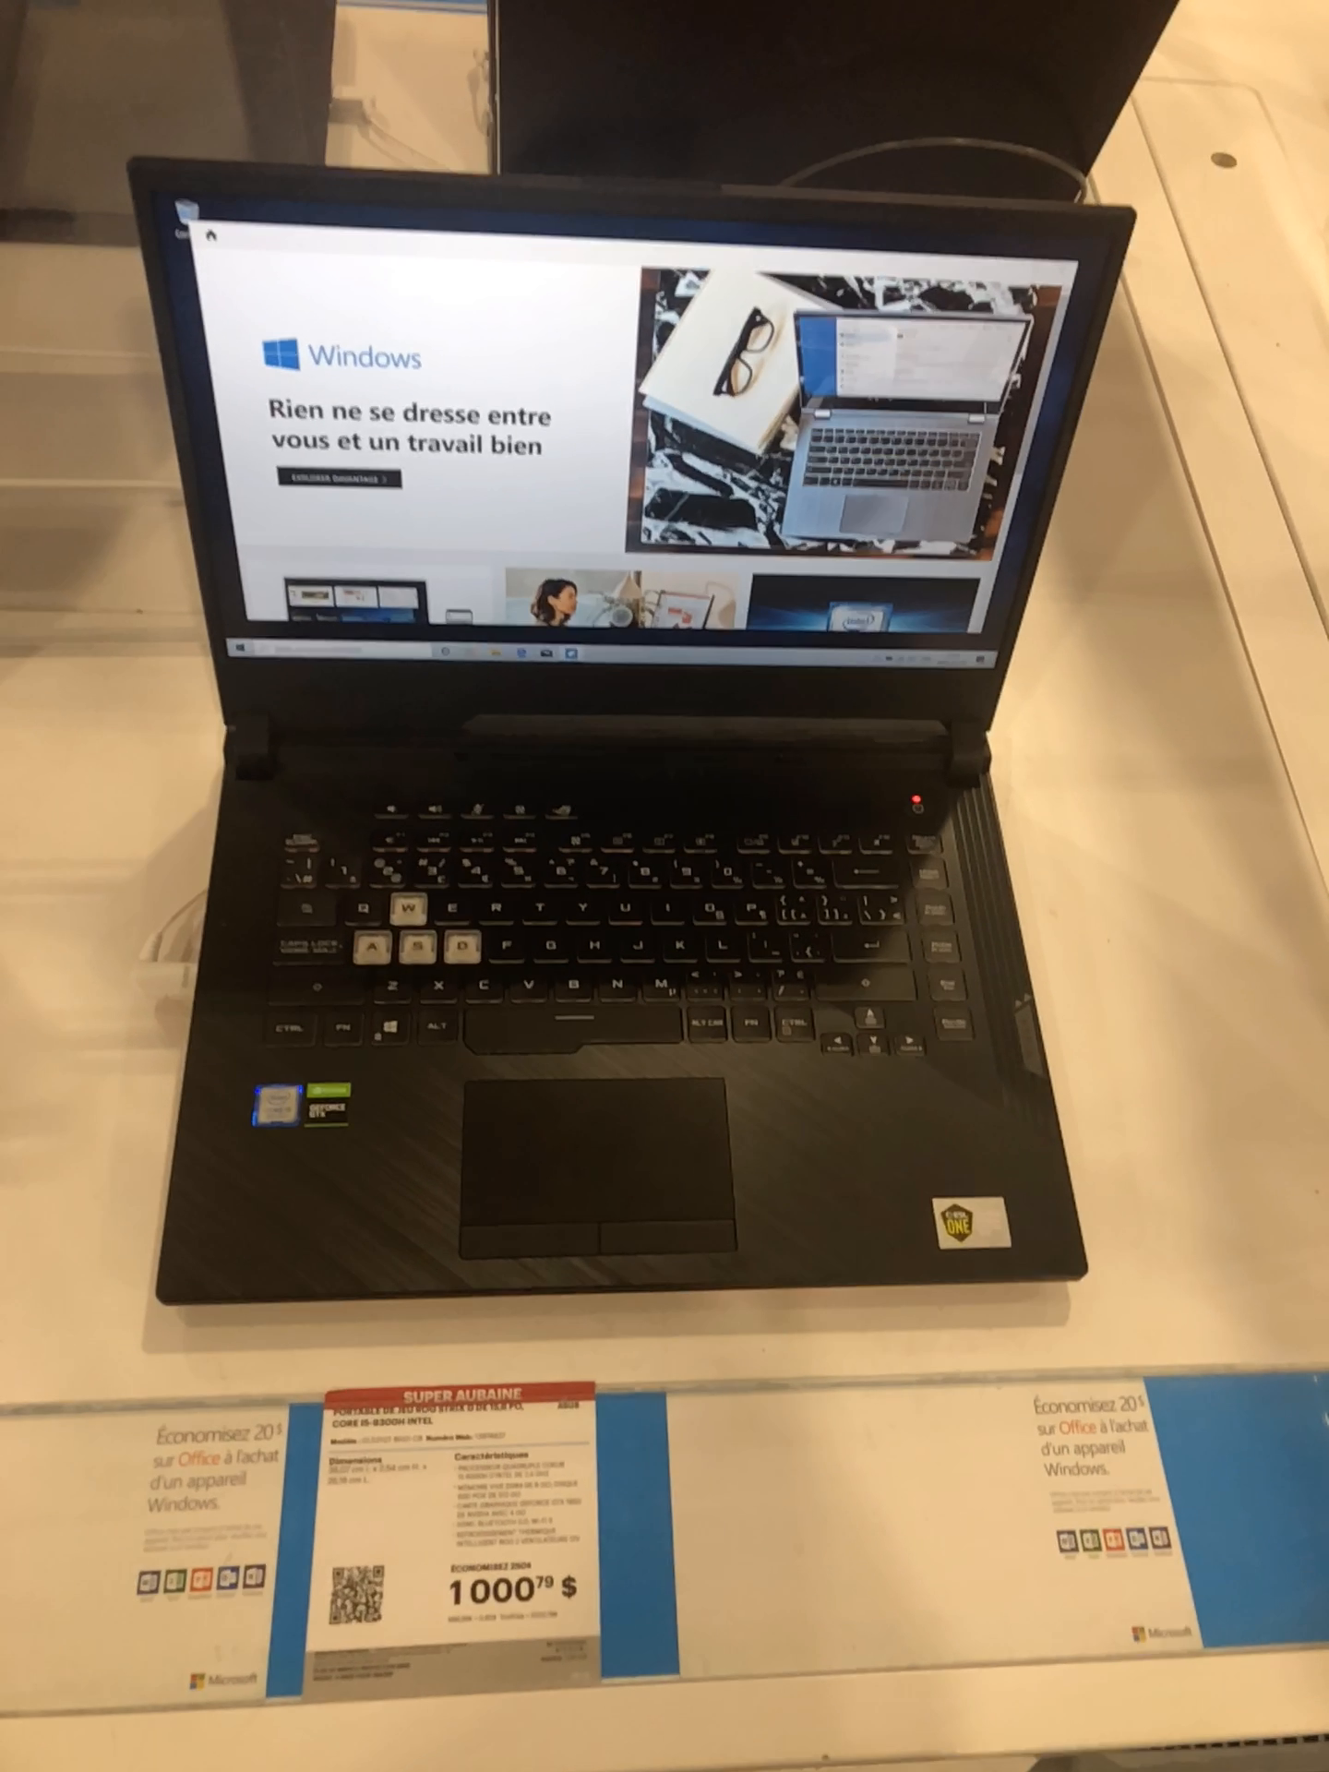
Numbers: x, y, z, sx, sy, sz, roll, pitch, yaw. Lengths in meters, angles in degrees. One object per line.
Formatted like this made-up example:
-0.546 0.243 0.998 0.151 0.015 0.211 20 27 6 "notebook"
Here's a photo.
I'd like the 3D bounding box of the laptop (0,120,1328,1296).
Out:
-0.006 -0.062 0.561 0.363 0.236 0.345 0 62 -5 "laptop"
